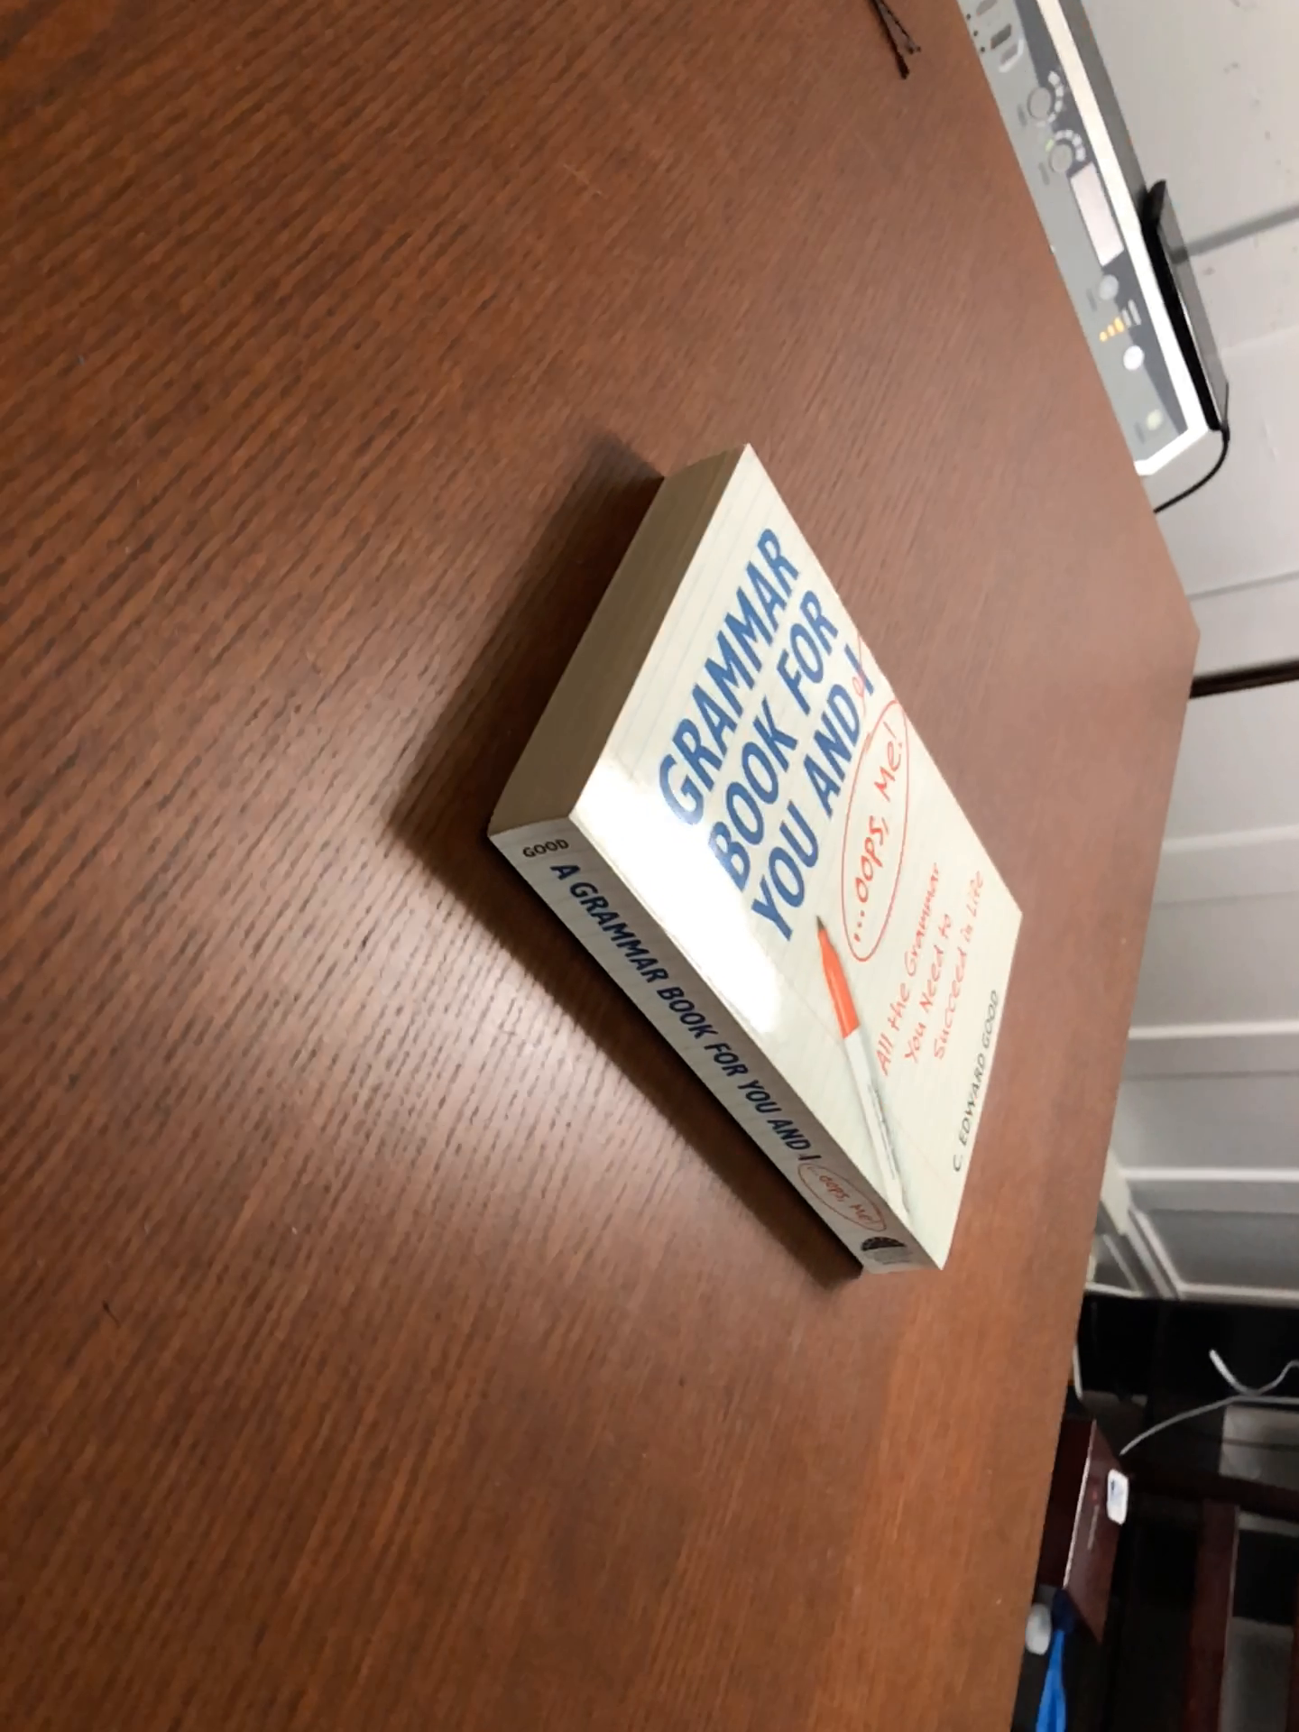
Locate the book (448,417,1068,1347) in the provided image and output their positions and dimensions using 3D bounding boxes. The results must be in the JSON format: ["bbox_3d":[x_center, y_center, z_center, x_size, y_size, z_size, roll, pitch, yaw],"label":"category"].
[{"bbox_3d":[0.057,0.013,0.449,0.240,0.040,0.171,52,46,-34],"label":"book"}]
